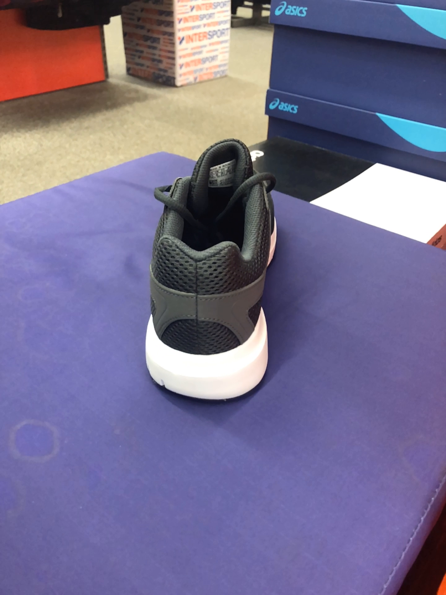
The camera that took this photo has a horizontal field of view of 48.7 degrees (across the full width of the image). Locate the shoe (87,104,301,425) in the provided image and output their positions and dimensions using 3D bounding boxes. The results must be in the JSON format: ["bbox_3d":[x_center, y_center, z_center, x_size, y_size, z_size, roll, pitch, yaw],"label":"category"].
[{"bbox_3d":[-0.003,-0.053,0.376,0.101,0.107,0.282,4,36,3],"label":"shoe"}]
